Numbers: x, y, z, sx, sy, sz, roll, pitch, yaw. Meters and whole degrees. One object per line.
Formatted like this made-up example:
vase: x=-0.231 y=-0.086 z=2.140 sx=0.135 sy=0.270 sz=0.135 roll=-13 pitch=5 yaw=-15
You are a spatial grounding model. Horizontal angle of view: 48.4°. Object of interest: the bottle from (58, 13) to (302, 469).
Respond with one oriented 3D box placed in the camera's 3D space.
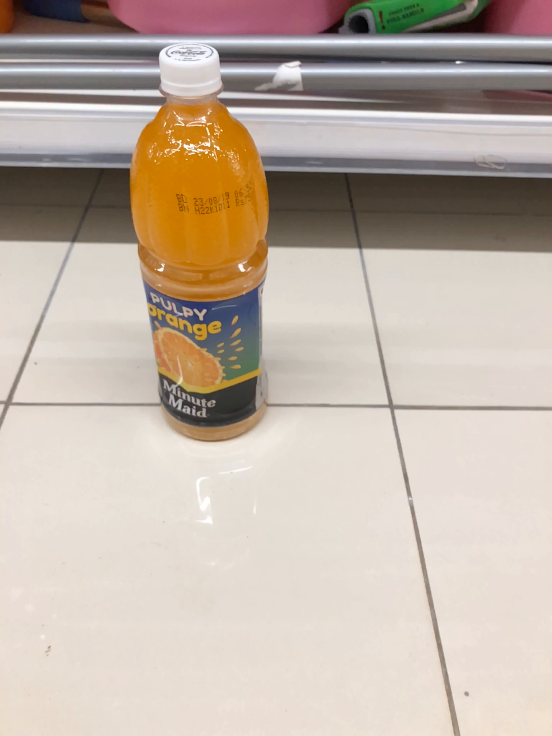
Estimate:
bottle: x=-0.049 y=-0.063 z=0.397 sx=0.090 sy=0.268 sz=0.081 roll=23 pitch=48 yaw=21
